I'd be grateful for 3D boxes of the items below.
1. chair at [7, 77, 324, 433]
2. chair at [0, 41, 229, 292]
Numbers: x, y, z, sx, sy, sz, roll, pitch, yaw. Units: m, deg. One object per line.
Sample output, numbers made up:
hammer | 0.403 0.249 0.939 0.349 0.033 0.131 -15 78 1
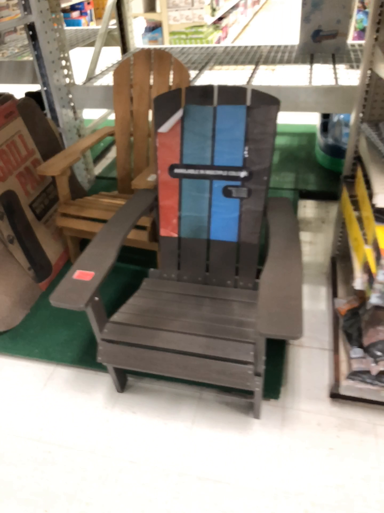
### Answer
chair | 0.044 -0.085 1.527 0.717 0.816 0.919 6 38 13
chair | -0.259 -0.512 2.143 0.637 0.846 0.979 10 39 18
